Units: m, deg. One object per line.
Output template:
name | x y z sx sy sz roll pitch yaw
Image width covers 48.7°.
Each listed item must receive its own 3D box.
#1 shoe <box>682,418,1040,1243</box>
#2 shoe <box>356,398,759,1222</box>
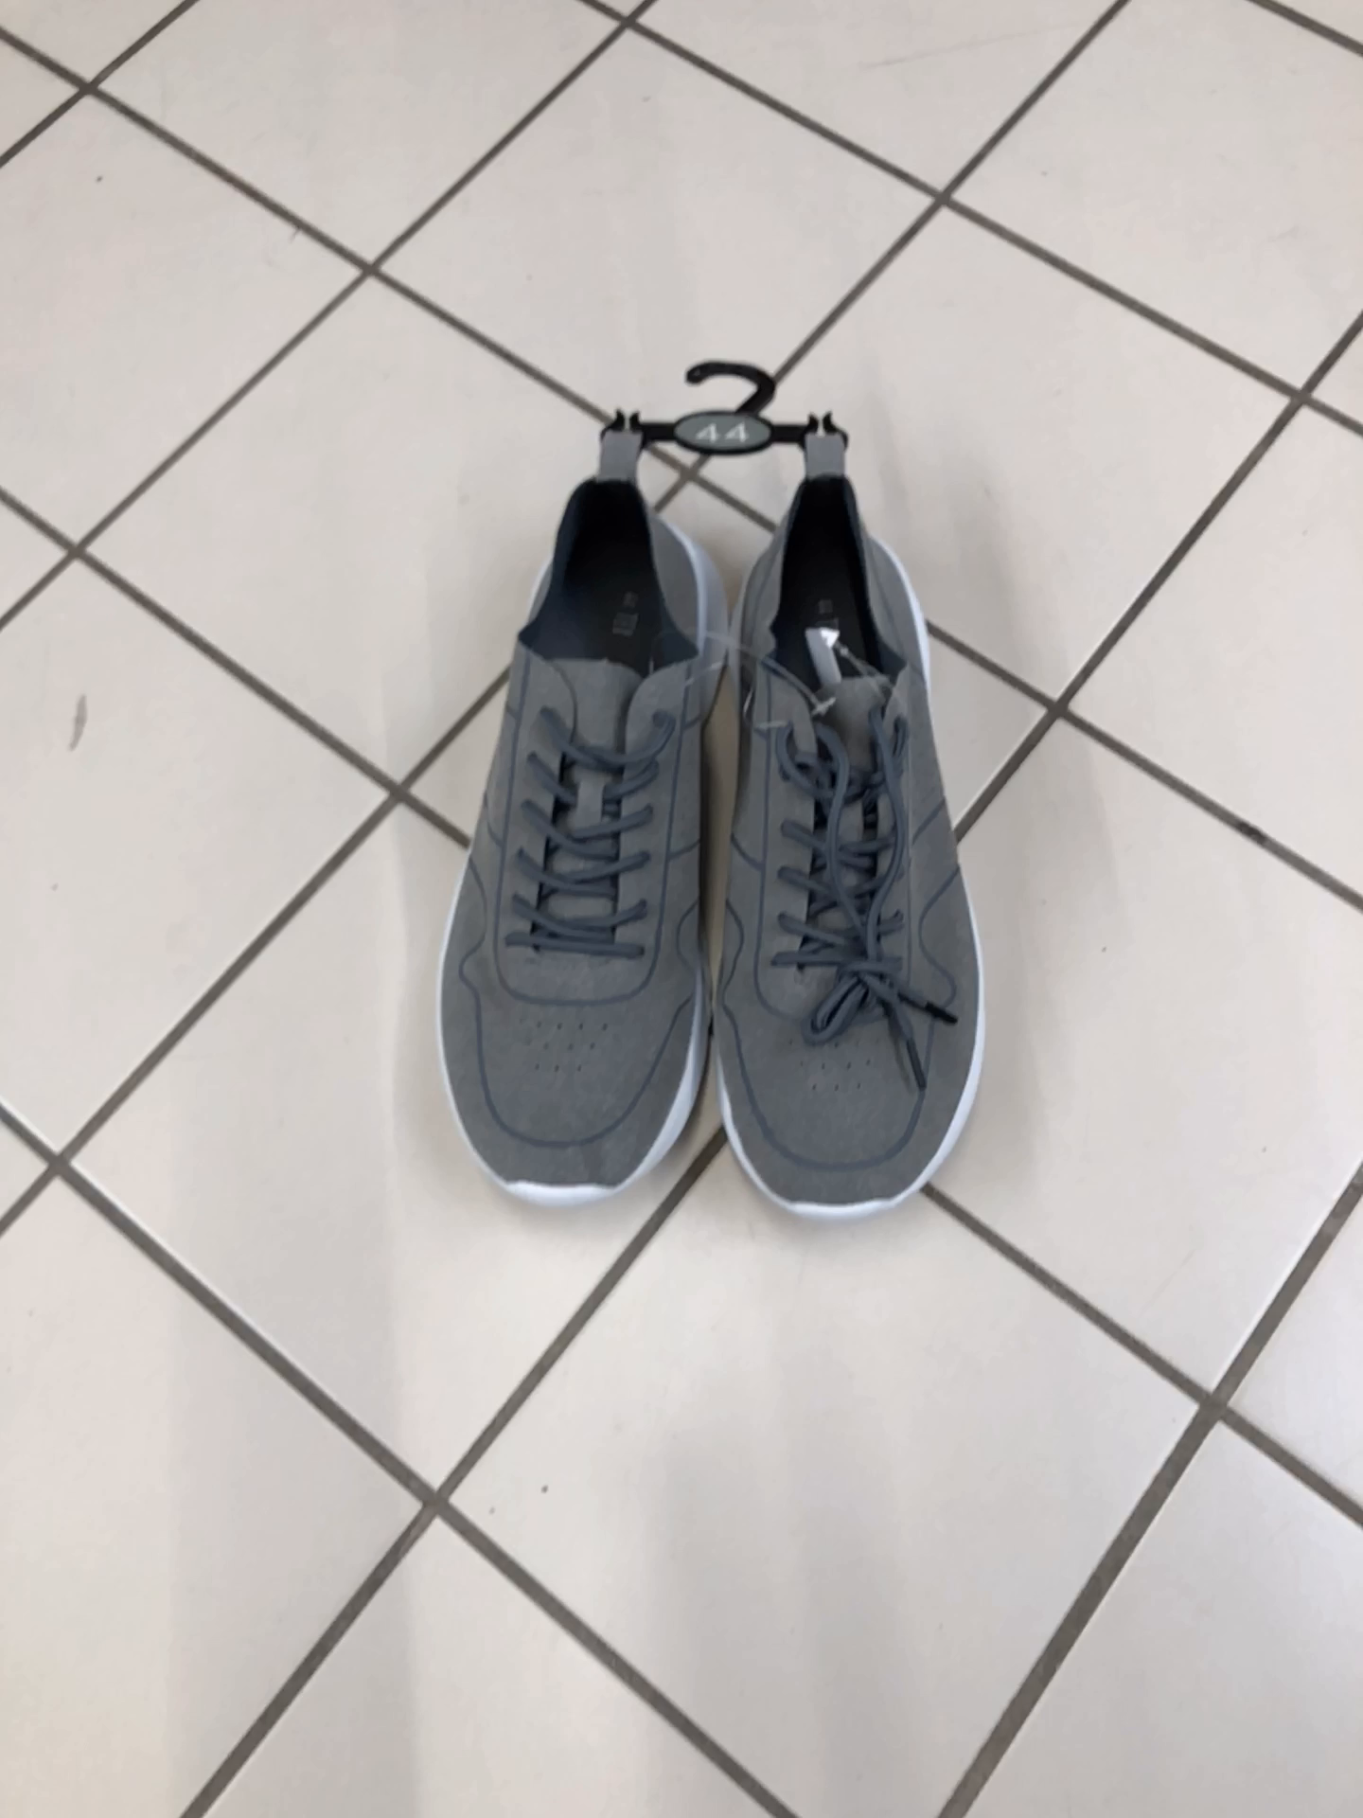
shoe | 0.060 -0.030 0.562 0.110 0.100 0.291 0 70 3
shoe | -0.035 -0.039 0.570 0.110 0.100 0.291 3 70 4
